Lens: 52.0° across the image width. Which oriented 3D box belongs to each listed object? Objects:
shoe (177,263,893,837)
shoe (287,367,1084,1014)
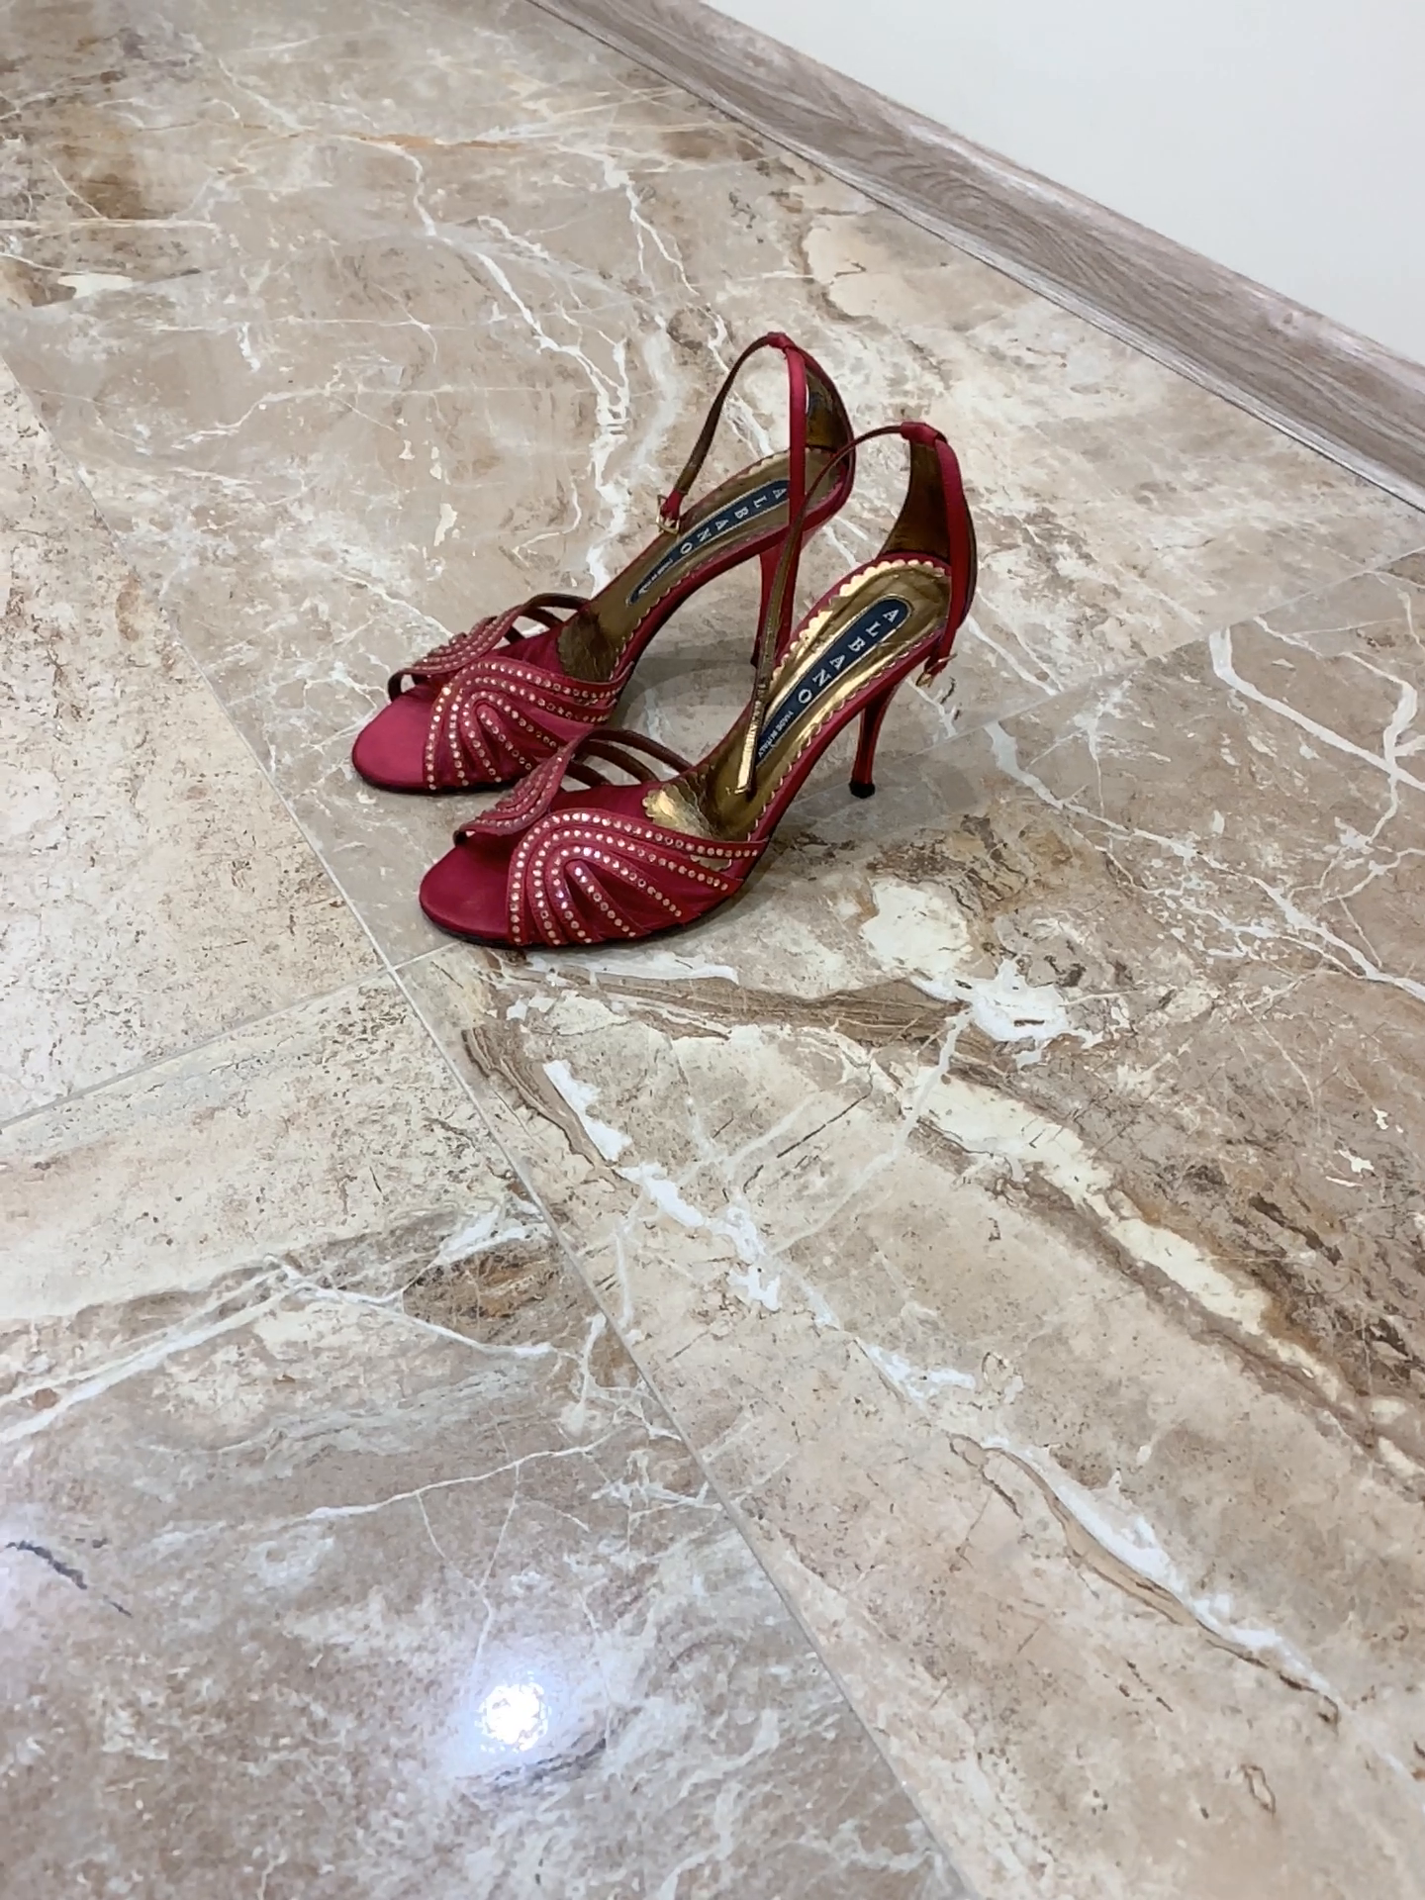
[{"bbox_3d":[-0.060,-0.155,0.554,0.230,0.129,0.090,-22,53,-20],"label":"shoe"},{"bbox_3d":[-0.006,-0.092,0.498,0.230,0.129,0.090,-22,53,-20],"label":"shoe"}]
